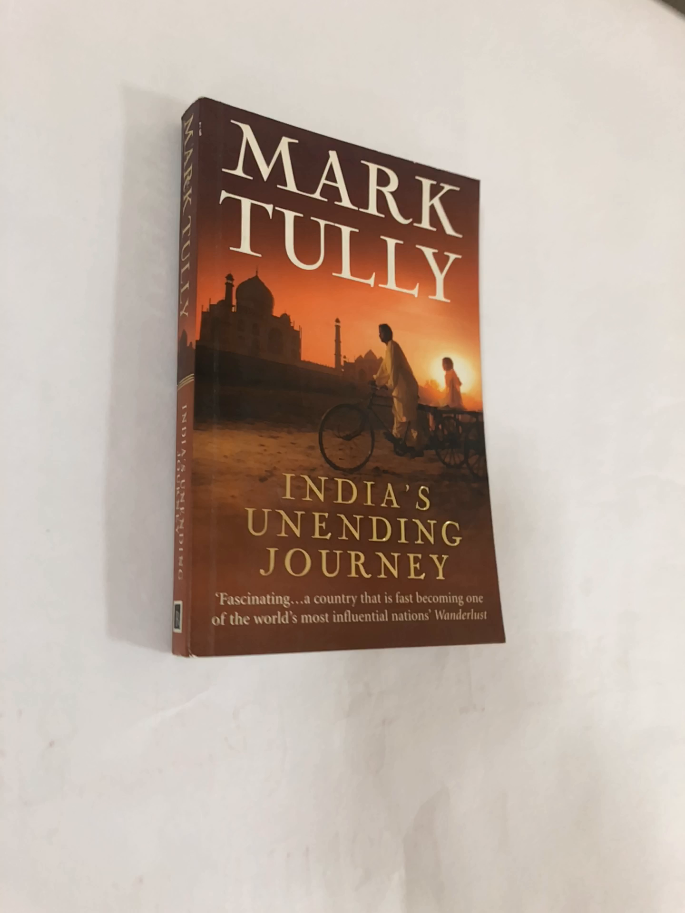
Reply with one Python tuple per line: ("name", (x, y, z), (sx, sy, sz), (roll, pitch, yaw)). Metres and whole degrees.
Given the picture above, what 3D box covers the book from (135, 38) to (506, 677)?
("book", (-0.005, -0.031, 0.286), (0.131, 0.030, 0.210), (6, 77, -31))
